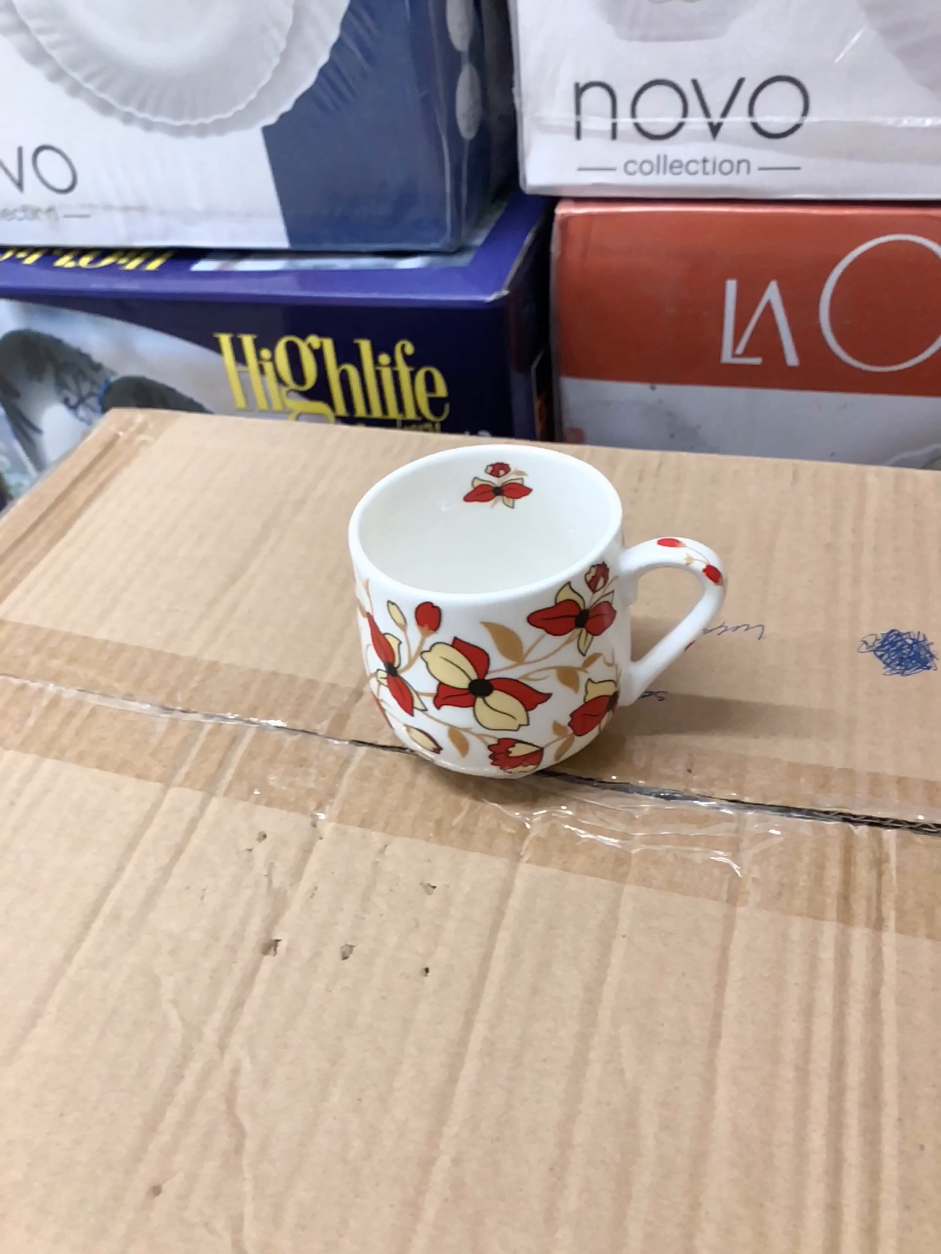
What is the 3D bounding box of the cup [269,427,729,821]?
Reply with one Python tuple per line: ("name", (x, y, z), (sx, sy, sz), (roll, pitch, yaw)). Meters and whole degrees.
("cup", (0.011, -0.004, 0.253), (0.090, 0.060, 0.060), (7, 42, 16))
